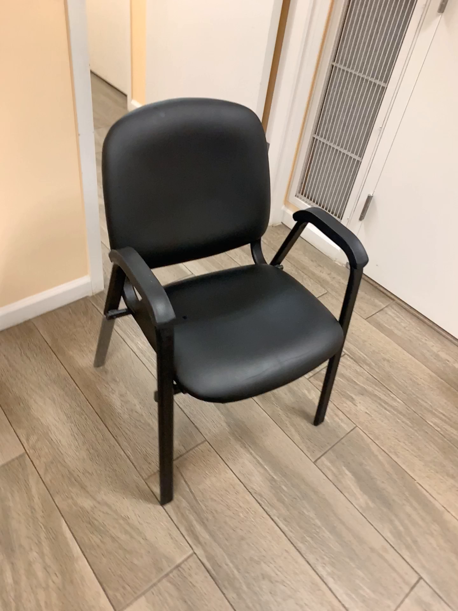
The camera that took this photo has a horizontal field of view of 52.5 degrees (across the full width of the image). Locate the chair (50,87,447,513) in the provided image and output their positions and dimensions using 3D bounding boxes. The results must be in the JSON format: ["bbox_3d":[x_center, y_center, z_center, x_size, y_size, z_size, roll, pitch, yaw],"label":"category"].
[{"bbox_3d":[-0.030,-0.033,1.243,0.607,0.817,0.607,-17,49,-27],"label":"chair"}]
